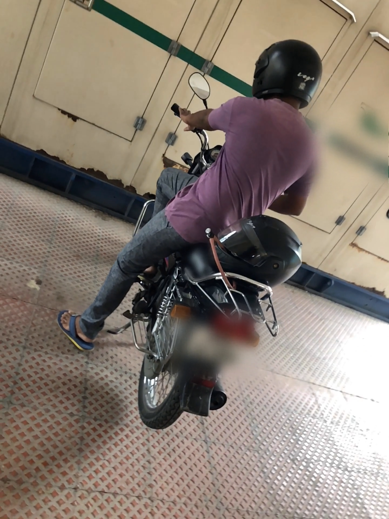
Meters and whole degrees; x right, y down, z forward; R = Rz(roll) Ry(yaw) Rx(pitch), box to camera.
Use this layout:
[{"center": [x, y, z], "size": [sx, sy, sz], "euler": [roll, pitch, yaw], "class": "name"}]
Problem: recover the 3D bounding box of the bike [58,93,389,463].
[{"center": [0.125, -0.056, 2.152], "size": [0.815, 0.927, 1.602], "euler": [25, 28, -14], "class": "bike"}]
